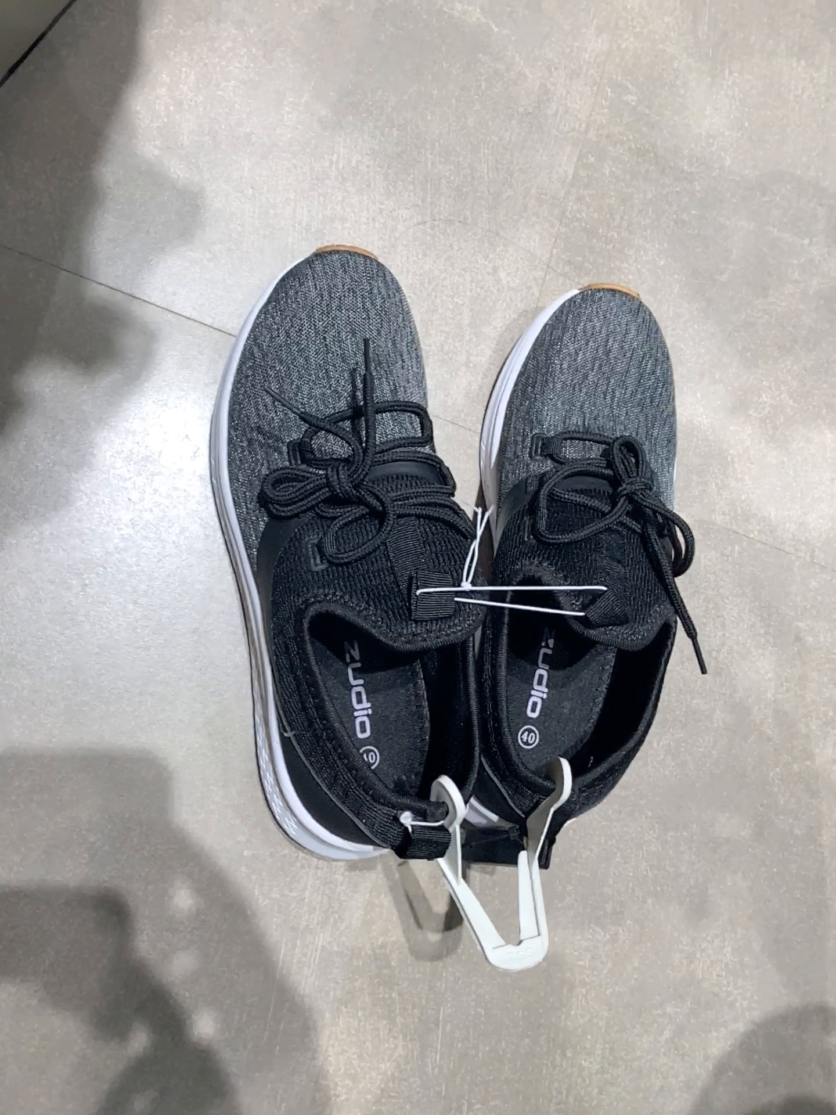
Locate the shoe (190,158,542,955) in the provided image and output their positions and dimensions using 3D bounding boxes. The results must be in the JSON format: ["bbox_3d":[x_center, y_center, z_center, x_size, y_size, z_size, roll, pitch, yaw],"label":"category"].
[{"bbox_3d":[-0.030,-0.004,0.361,0.106,0.096,0.278,-4,86,-17],"label":"shoe"}]

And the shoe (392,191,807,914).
[{"bbox_3d":[0.081,-0.001,0.397,0.107,0.096,0.278,15,81,-15],"label":"shoe"}]
